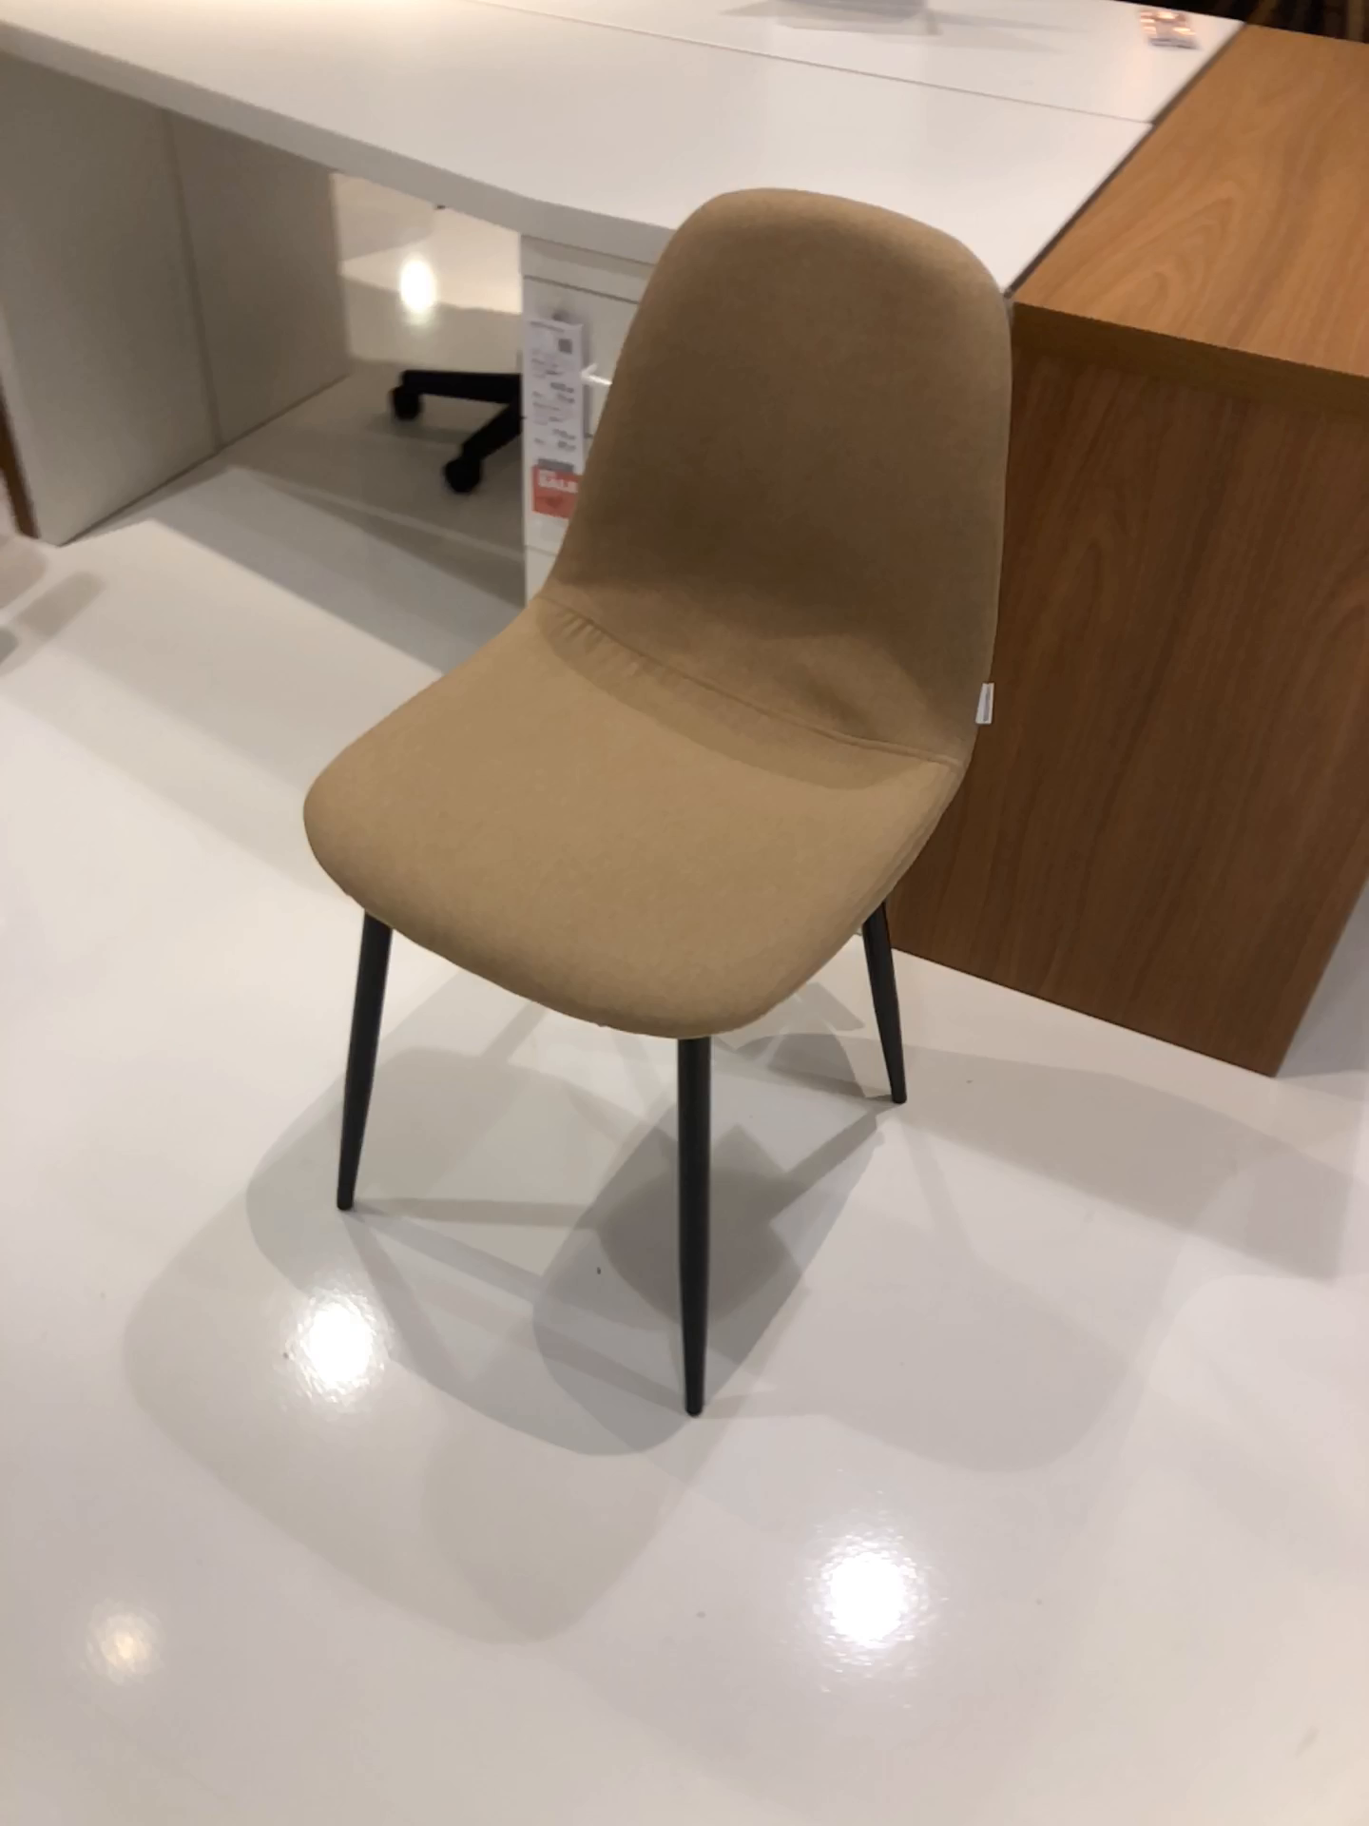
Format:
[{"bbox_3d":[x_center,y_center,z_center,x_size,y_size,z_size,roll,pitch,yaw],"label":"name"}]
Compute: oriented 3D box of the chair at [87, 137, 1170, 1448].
[{"bbox_3d":[-0.025,-0.098,1.213,0.481,0.784,0.524,24,45,21],"label":"chair"}]
